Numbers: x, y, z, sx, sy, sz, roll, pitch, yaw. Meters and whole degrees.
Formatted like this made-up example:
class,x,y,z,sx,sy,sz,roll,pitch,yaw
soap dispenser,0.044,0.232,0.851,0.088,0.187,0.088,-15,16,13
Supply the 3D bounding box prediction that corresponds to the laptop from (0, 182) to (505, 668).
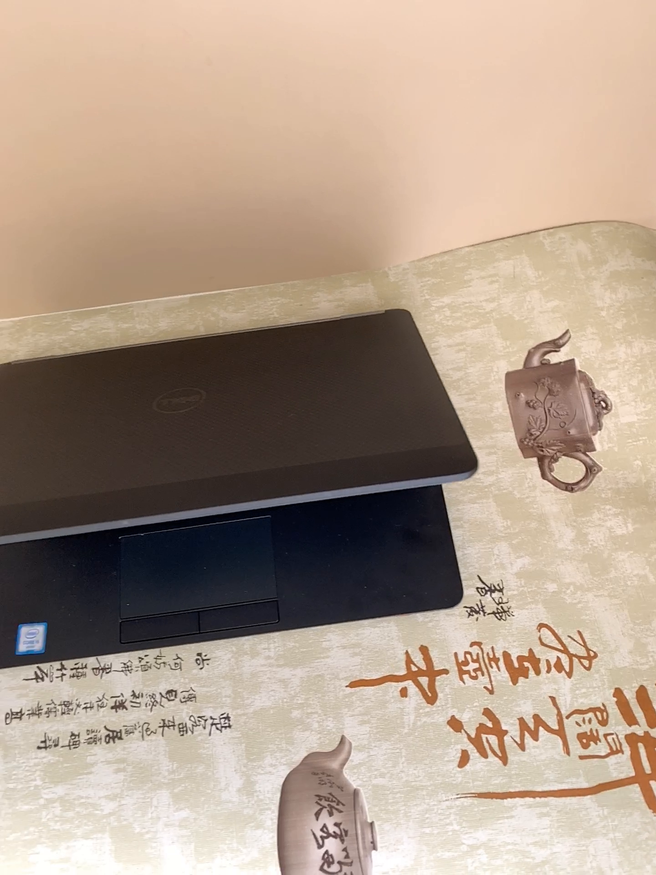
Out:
class,x,y,z,sx,sy,sz,roll,pitch,yaw
laptop,-0.086,0.001,0.396,0.308,0.136,0.212,-8,66,1
